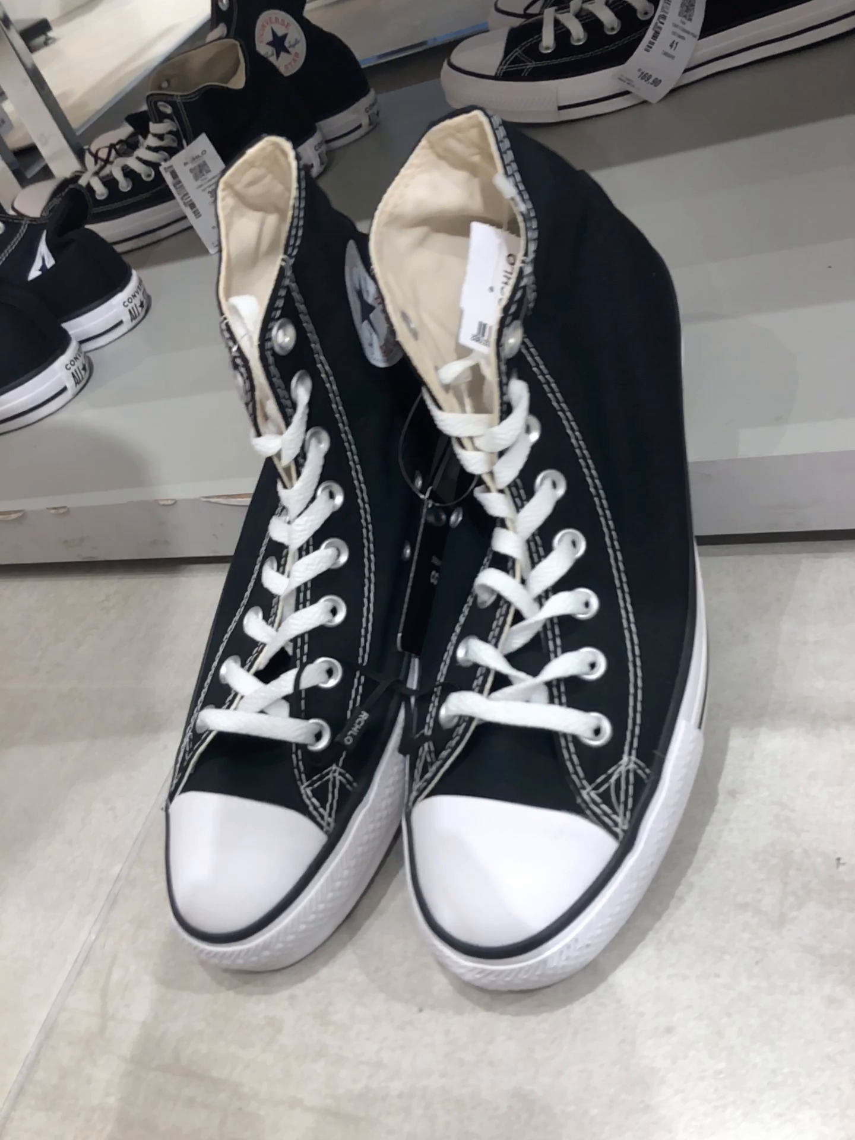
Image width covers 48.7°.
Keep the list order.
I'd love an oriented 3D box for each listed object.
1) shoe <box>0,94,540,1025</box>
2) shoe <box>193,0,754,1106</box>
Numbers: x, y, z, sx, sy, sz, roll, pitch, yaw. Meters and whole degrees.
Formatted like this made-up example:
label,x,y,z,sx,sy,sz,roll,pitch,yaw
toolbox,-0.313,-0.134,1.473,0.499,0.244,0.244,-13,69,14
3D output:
label,x,y,z,sx,sy,sz,roll,pitch,yaw
shoe,-0.052,-0.004,0.383,0.120,0.139,0.311,0,71,27
shoe,0.041,-0.023,0.330,0.120,0.139,0.331,-1,70,25
